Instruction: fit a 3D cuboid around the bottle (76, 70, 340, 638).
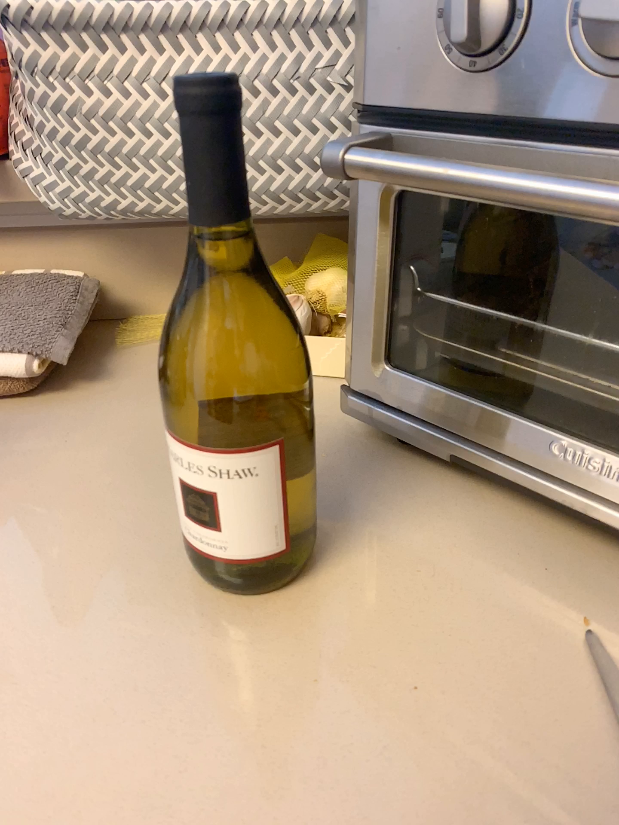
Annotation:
[{"bbox_3d":[-0.038,-0.020,0.323,0.080,0.268,0.070,23,38,35],"label":"bottle"}]
